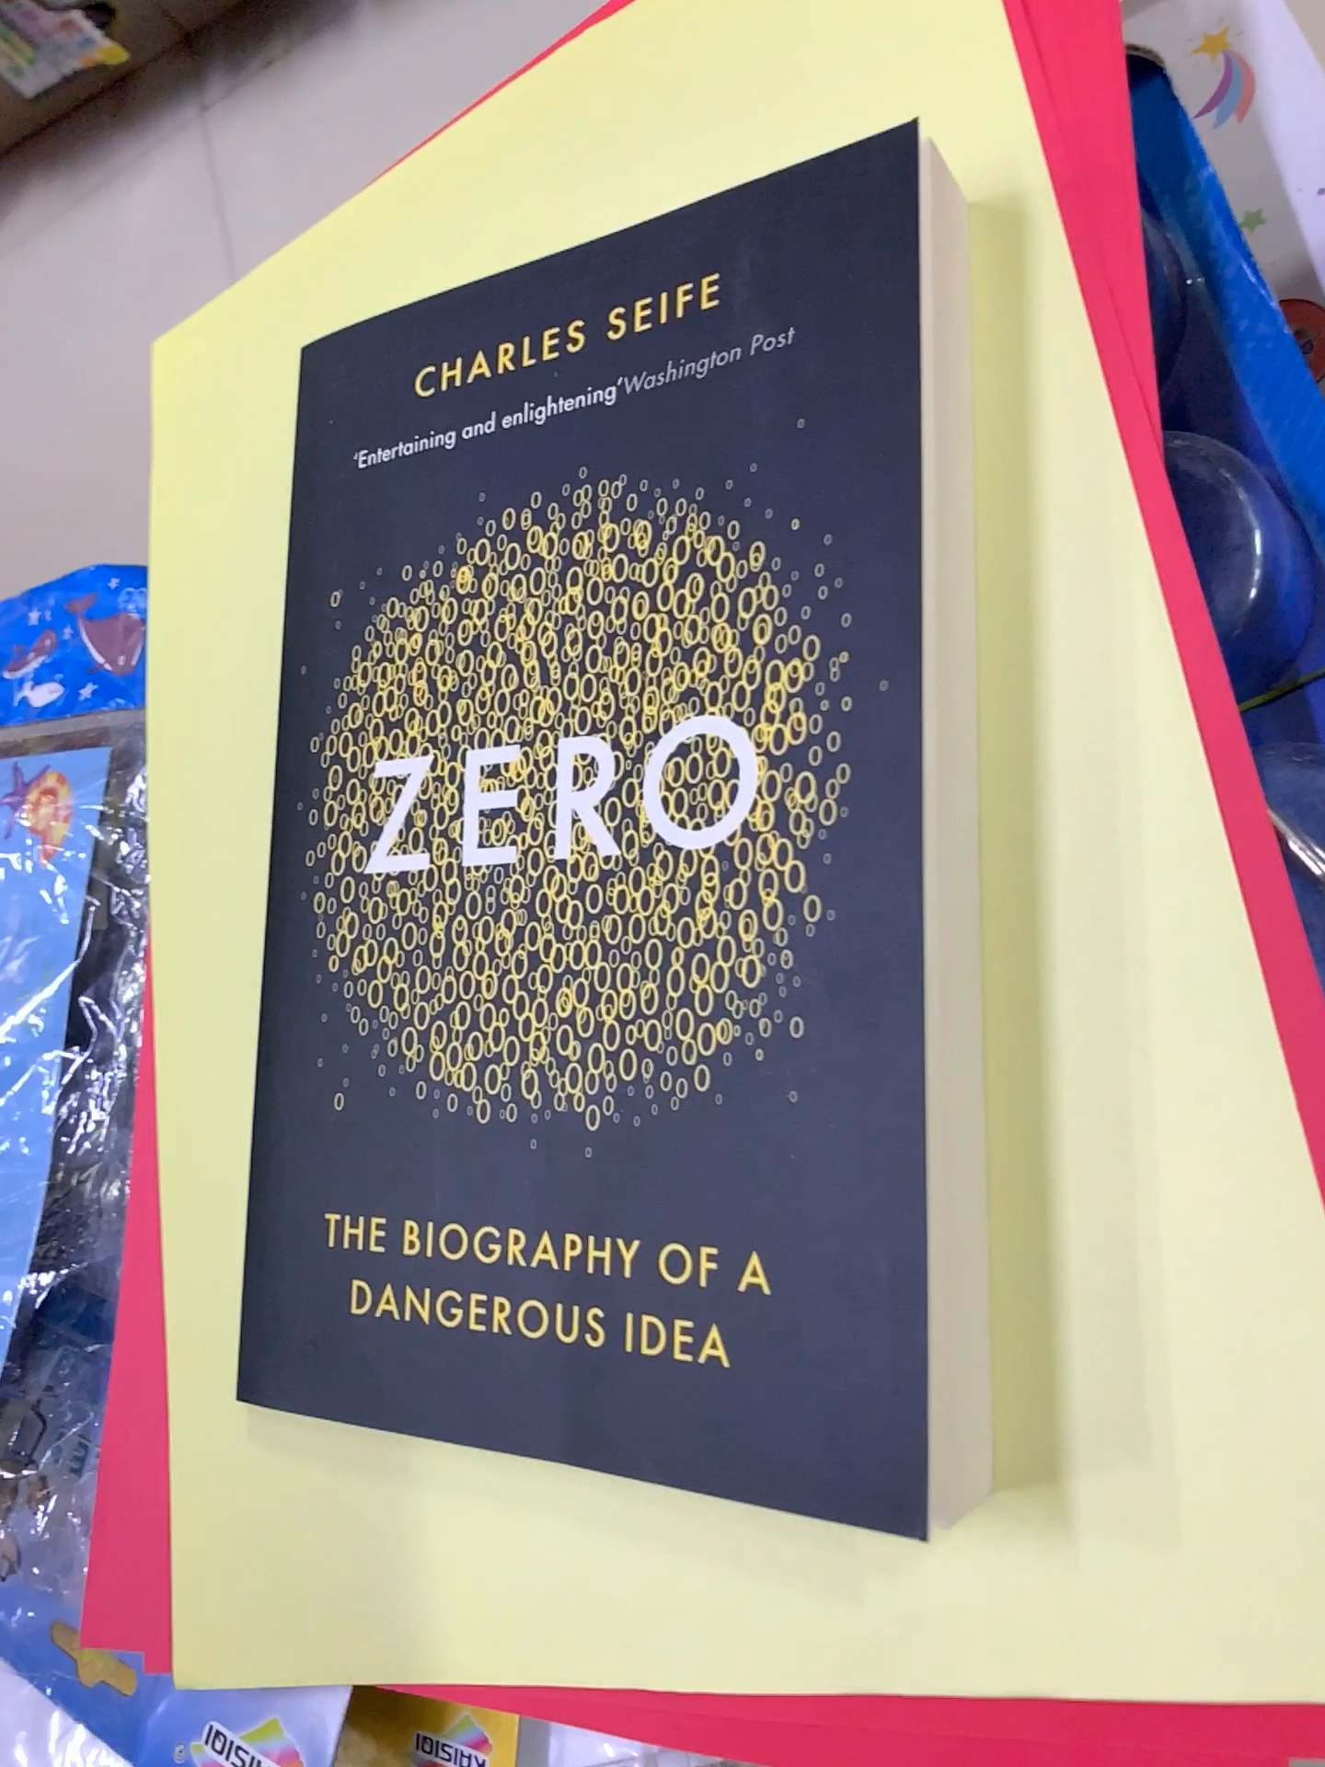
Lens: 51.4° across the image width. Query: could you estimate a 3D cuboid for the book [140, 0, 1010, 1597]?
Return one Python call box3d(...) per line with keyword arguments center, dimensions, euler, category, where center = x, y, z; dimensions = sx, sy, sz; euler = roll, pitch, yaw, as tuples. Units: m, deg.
box3d(center=(-0.017, -0.013, 0.219), dimensions=(0.130, 0.040, 0.200), euler=(-4, 81, 31), category="book")
